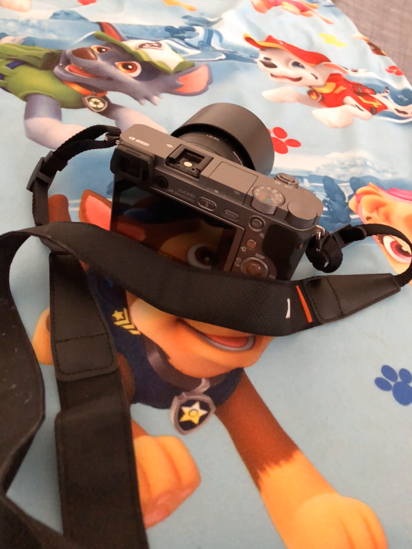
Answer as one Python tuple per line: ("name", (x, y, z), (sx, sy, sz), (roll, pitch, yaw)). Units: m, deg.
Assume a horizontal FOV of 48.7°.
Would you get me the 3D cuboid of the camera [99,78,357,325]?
("camera", (0.016, -0.056, 0.311), (0.130, 0.080, 0.111), (25, 44, 8))
